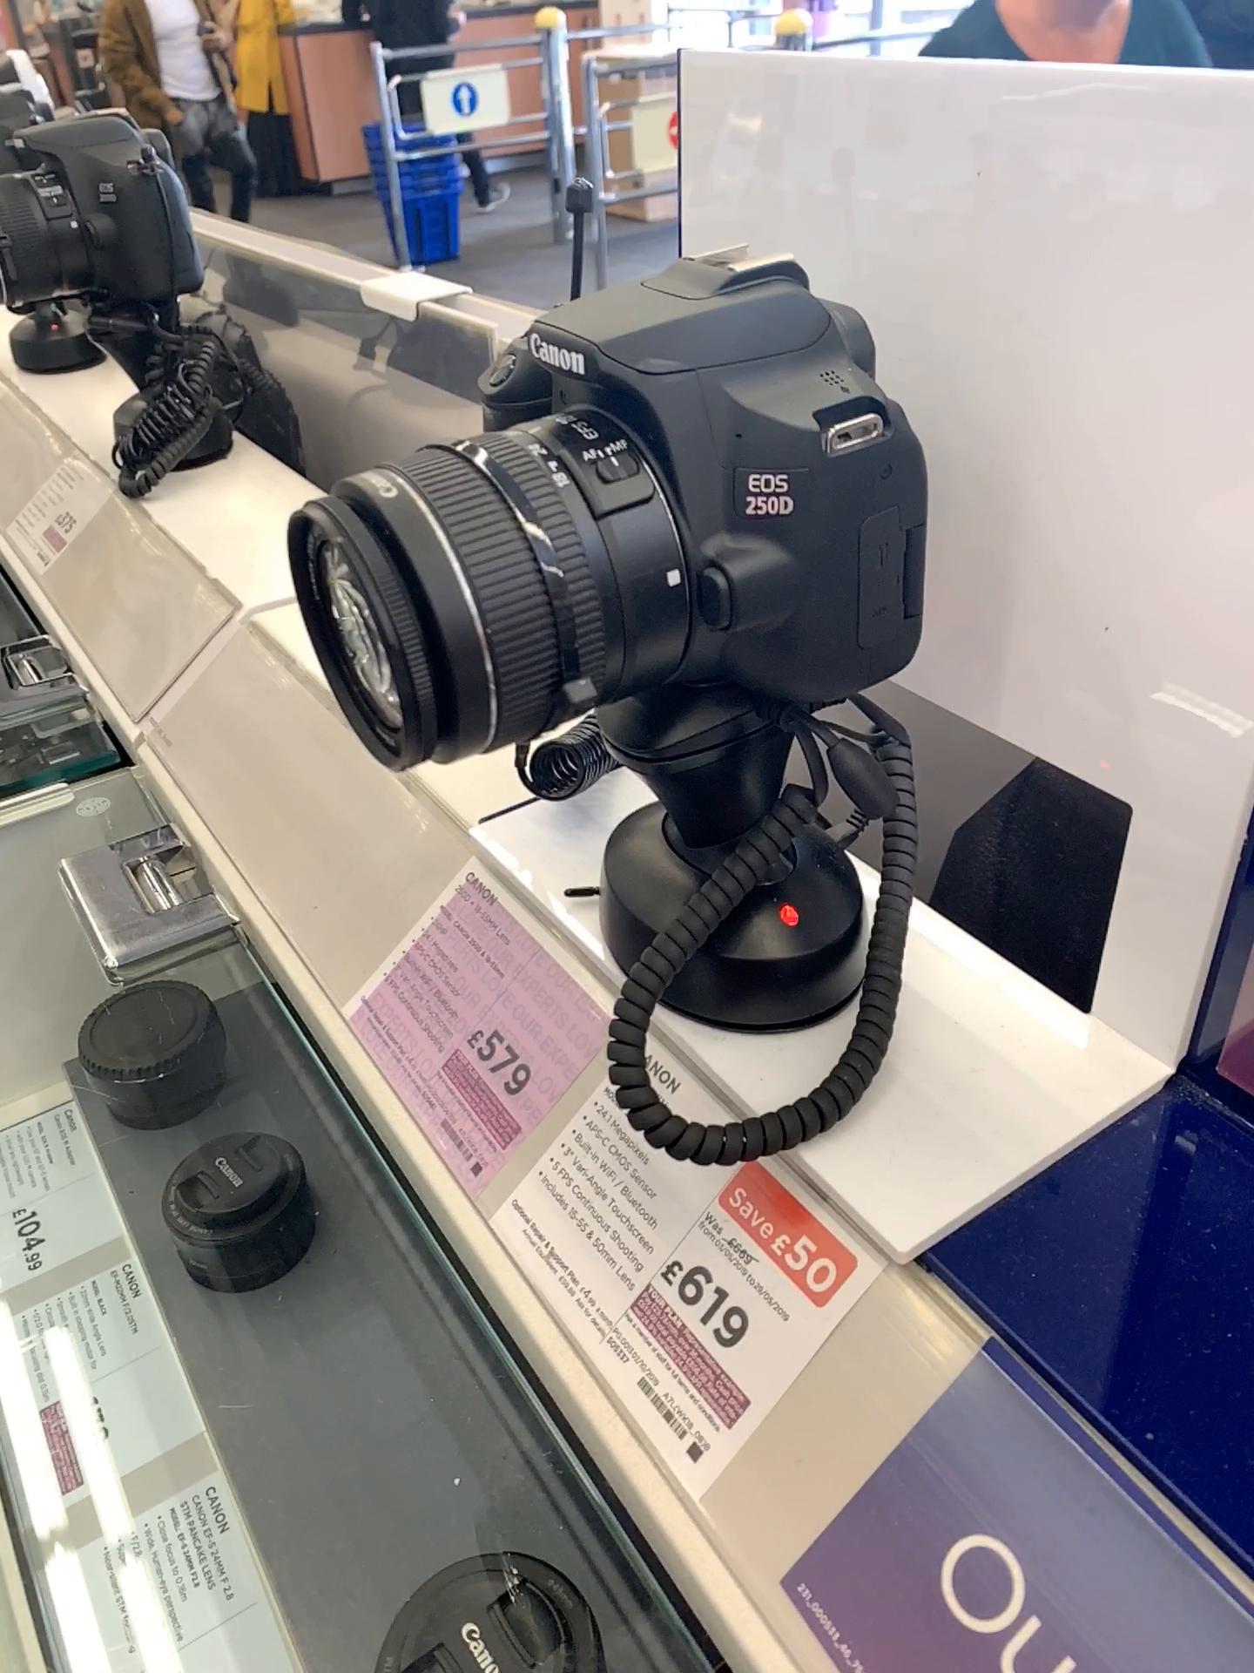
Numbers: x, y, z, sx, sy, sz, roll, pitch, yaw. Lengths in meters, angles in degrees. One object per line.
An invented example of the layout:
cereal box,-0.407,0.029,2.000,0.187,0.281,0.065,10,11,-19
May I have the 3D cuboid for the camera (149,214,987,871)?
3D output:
camera,-0.014,-0.082,0.305,0.140,0.089,0.121,-24,39,-27
